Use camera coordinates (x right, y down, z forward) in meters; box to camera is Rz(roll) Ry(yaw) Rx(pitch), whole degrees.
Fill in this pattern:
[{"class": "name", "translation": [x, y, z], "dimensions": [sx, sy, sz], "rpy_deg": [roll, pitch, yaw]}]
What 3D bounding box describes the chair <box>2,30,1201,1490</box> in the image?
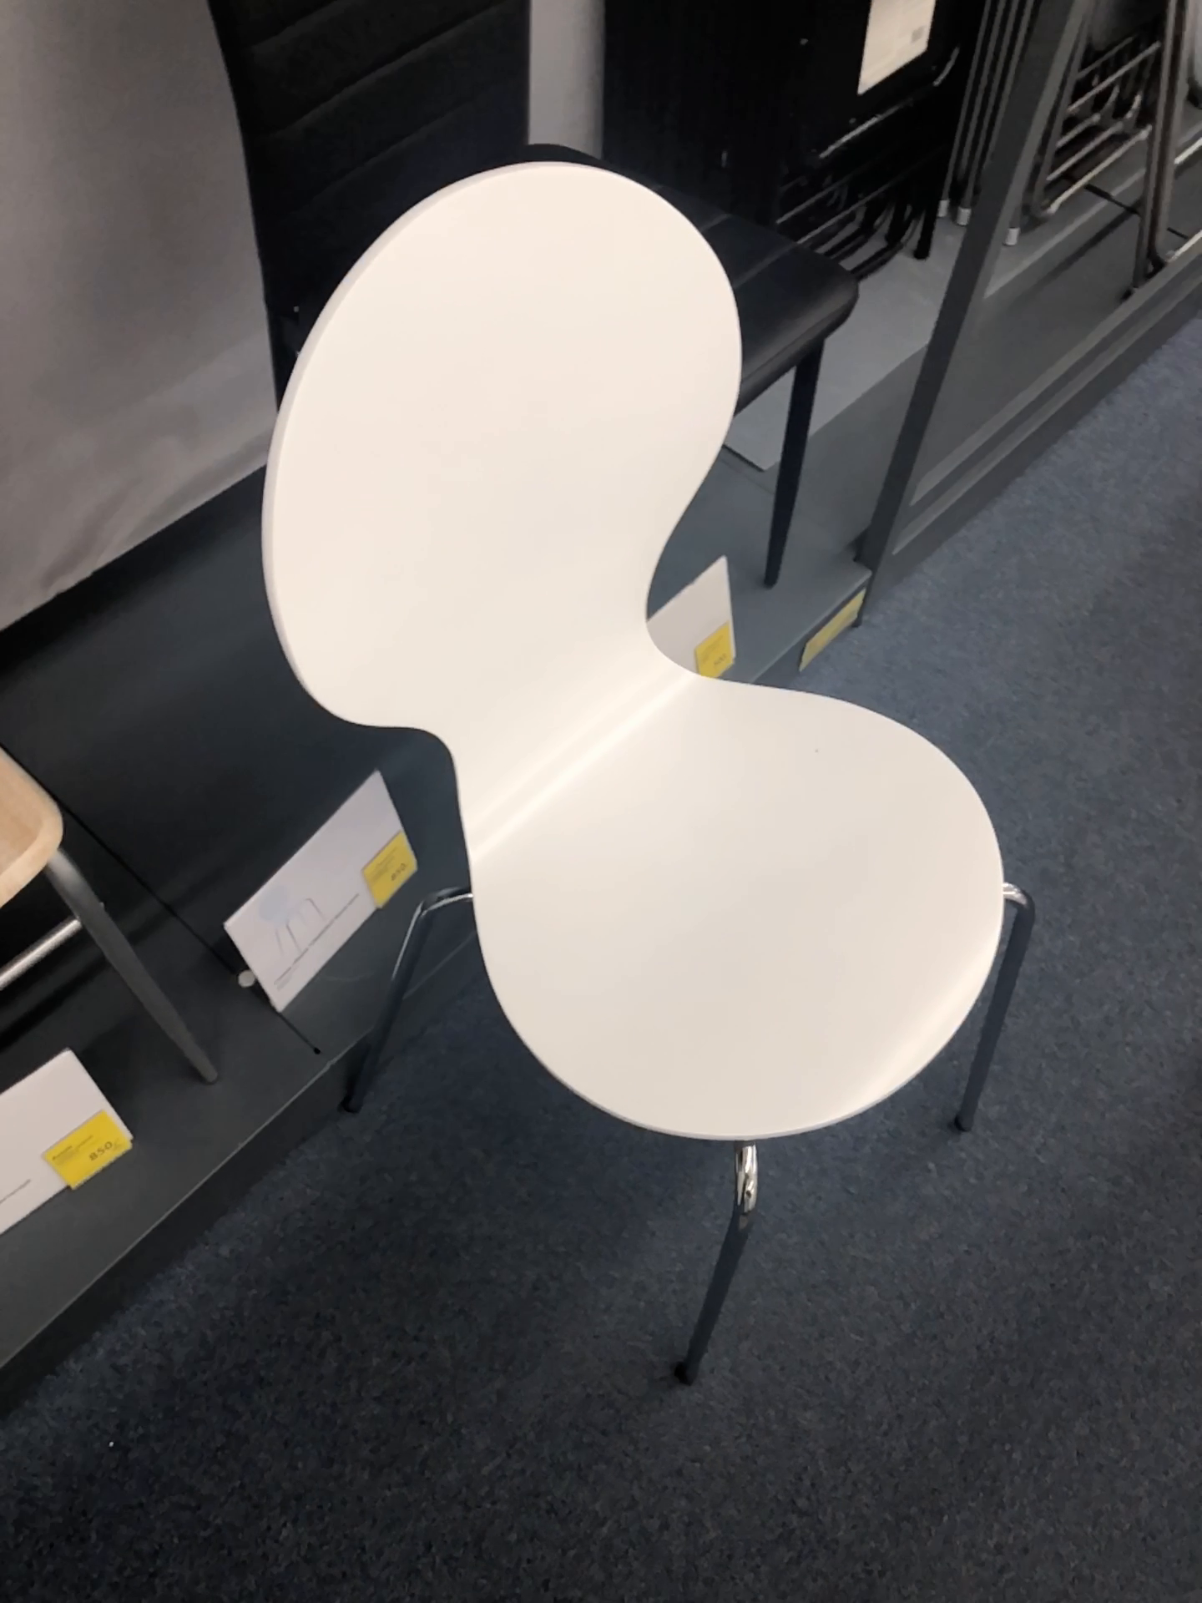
[{"class": "chair", "translation": [0.067, 0.058, 1.039], "dimensions": [0.561, 0.898, 0.540], "rpy_deg": [-37, 67, -24]}]
